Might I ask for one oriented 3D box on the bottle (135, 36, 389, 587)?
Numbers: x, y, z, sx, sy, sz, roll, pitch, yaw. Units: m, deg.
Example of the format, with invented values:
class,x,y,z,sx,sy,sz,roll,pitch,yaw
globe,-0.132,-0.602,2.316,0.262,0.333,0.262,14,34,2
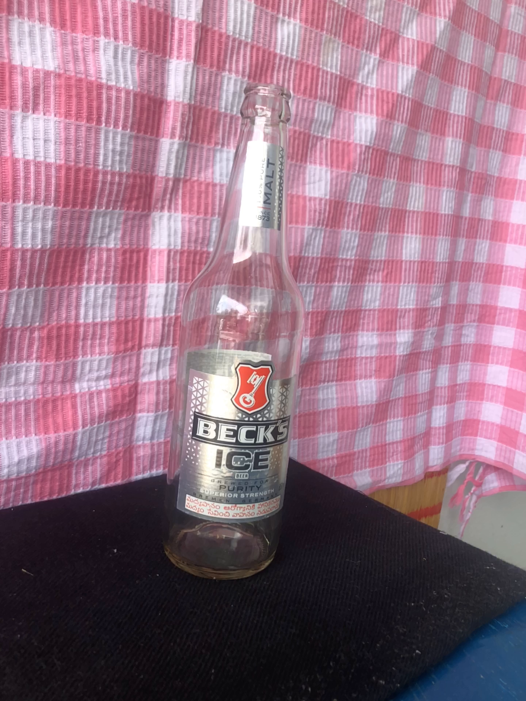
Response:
class,x,y,z,sx,sy,sz,roll,pitch,yaw
bottle,-0.010,-0.013,0.330,0.090,0.269,0.080,6,11,-10
